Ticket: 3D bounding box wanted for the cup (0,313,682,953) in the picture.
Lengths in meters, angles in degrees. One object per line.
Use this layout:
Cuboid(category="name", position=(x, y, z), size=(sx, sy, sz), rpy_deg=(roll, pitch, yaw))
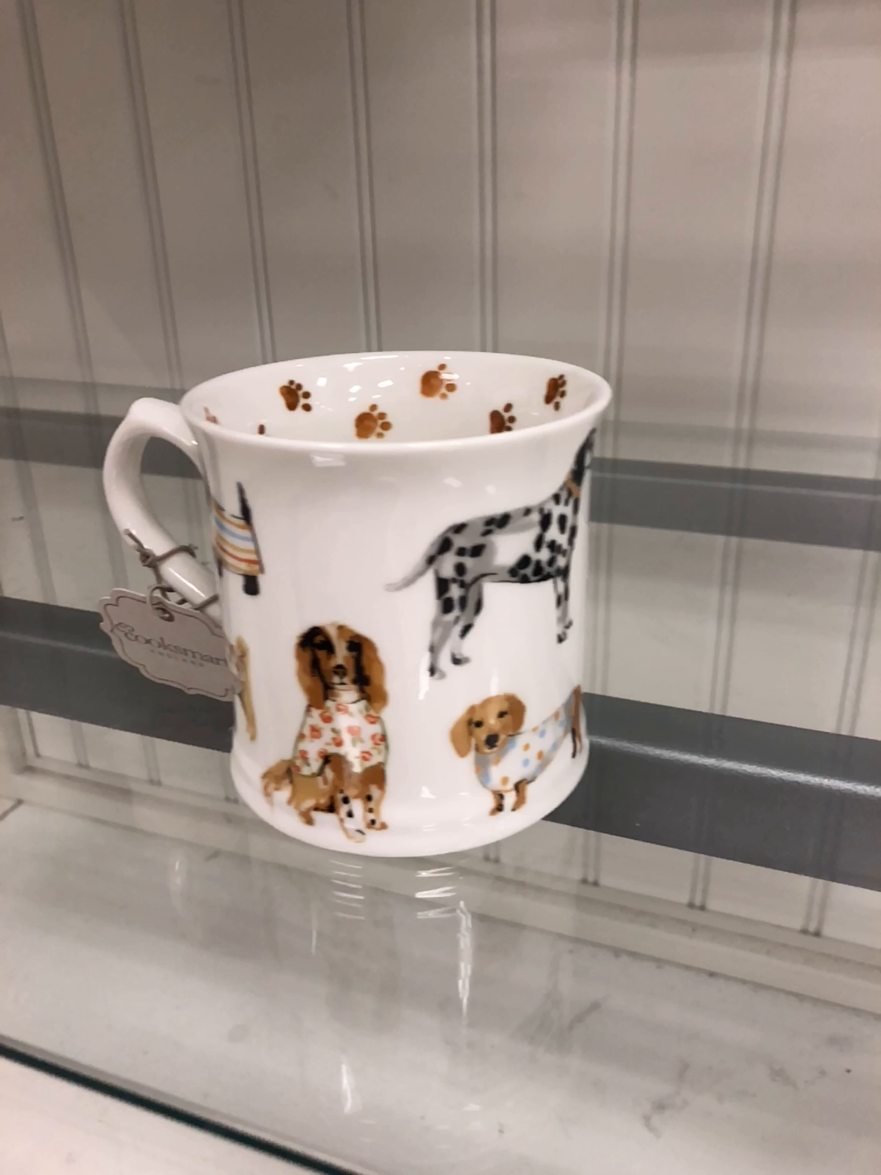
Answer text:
Cuboid(category="cup", position=(-0.025, -0.007, 0.225), size=(0.125, 0.089, 0.101), rpy_deg=(13, 27, 30))
